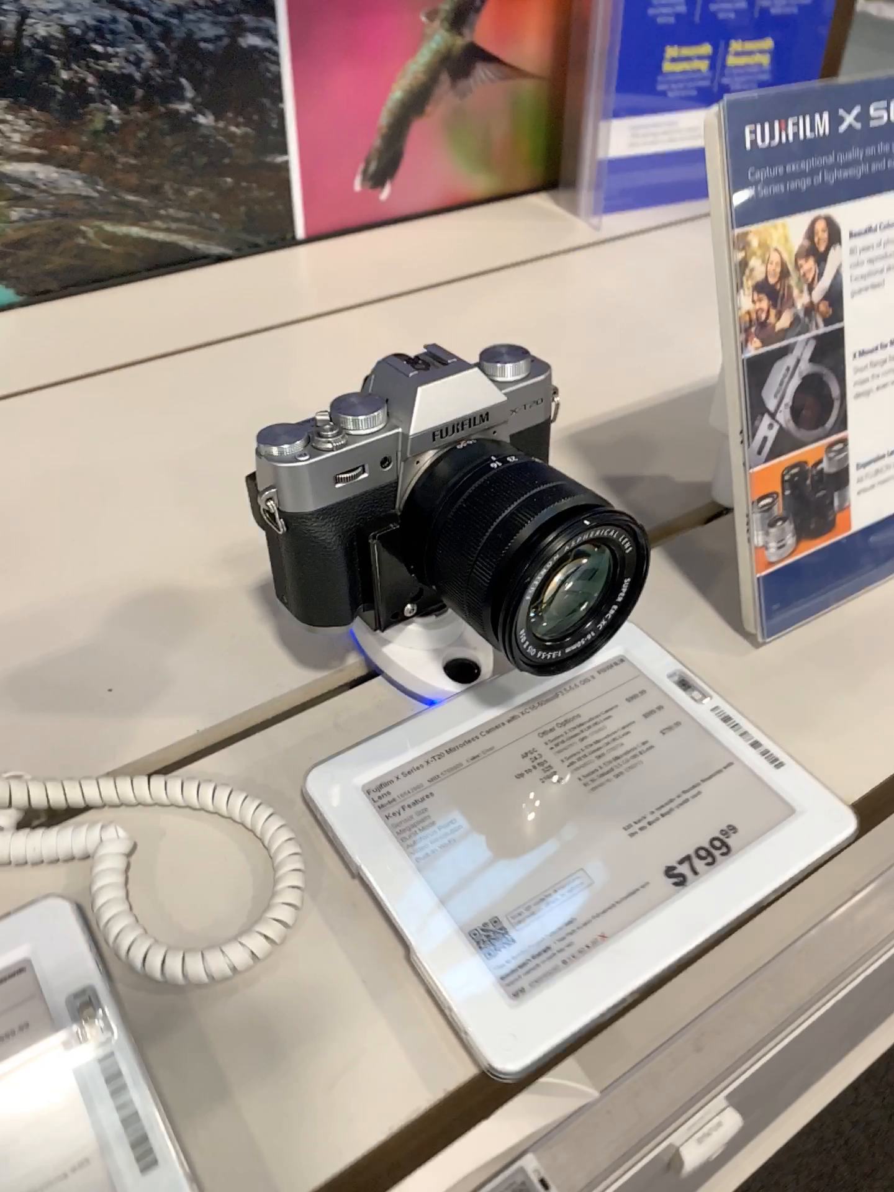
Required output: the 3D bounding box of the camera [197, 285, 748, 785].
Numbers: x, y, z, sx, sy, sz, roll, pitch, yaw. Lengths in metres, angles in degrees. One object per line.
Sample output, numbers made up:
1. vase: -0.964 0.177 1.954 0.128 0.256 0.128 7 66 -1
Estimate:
1. camera: 0.004 -0.030 0.308 0.120 0.080 0.121 -25 48 -26
